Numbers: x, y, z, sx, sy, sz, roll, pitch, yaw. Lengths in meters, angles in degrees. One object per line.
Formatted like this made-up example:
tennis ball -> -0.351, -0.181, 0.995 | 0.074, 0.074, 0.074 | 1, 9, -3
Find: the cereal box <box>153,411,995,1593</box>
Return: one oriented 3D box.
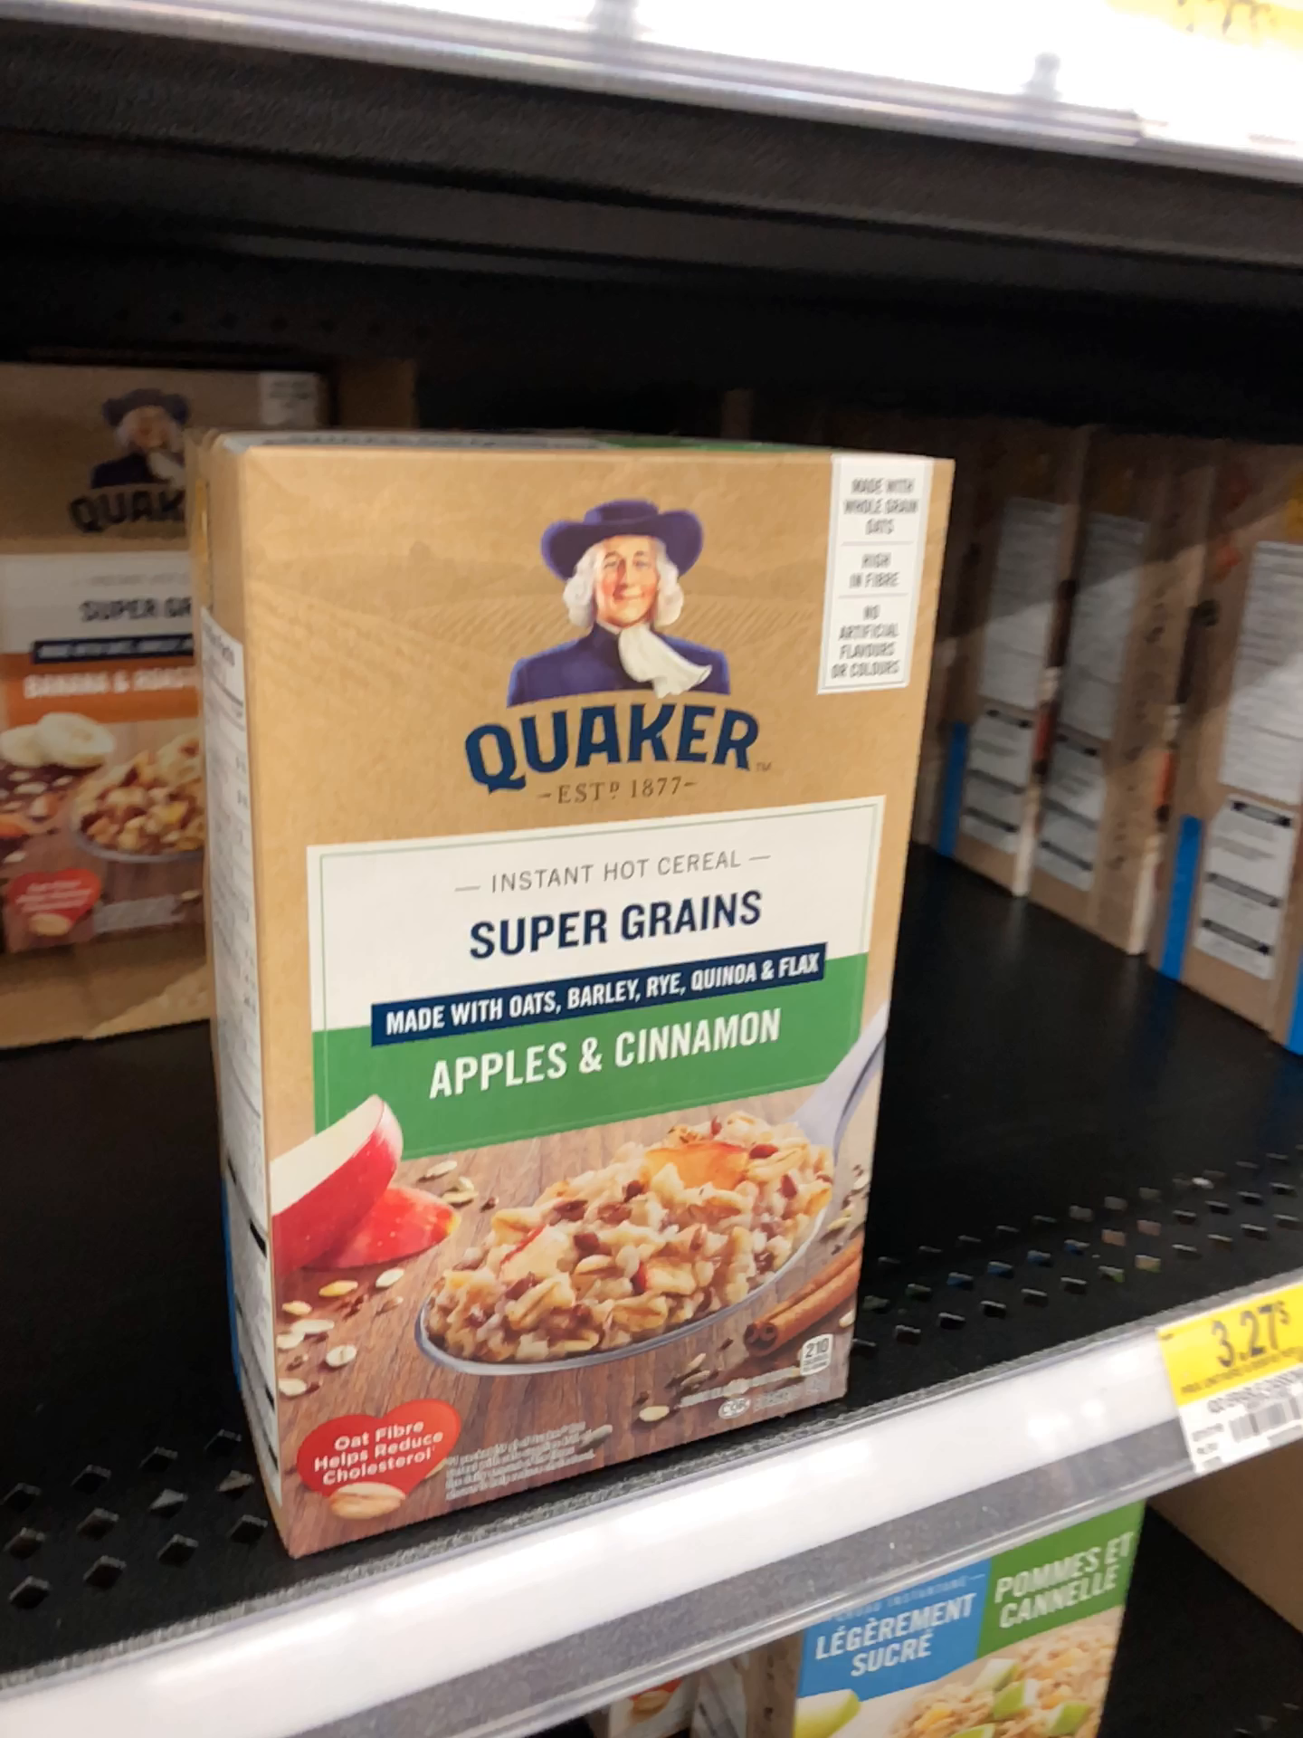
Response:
cereal box -> -0.018, 0.020, 0.279 | 0.130, 0.199, 0.060 | -6, 22, -25
